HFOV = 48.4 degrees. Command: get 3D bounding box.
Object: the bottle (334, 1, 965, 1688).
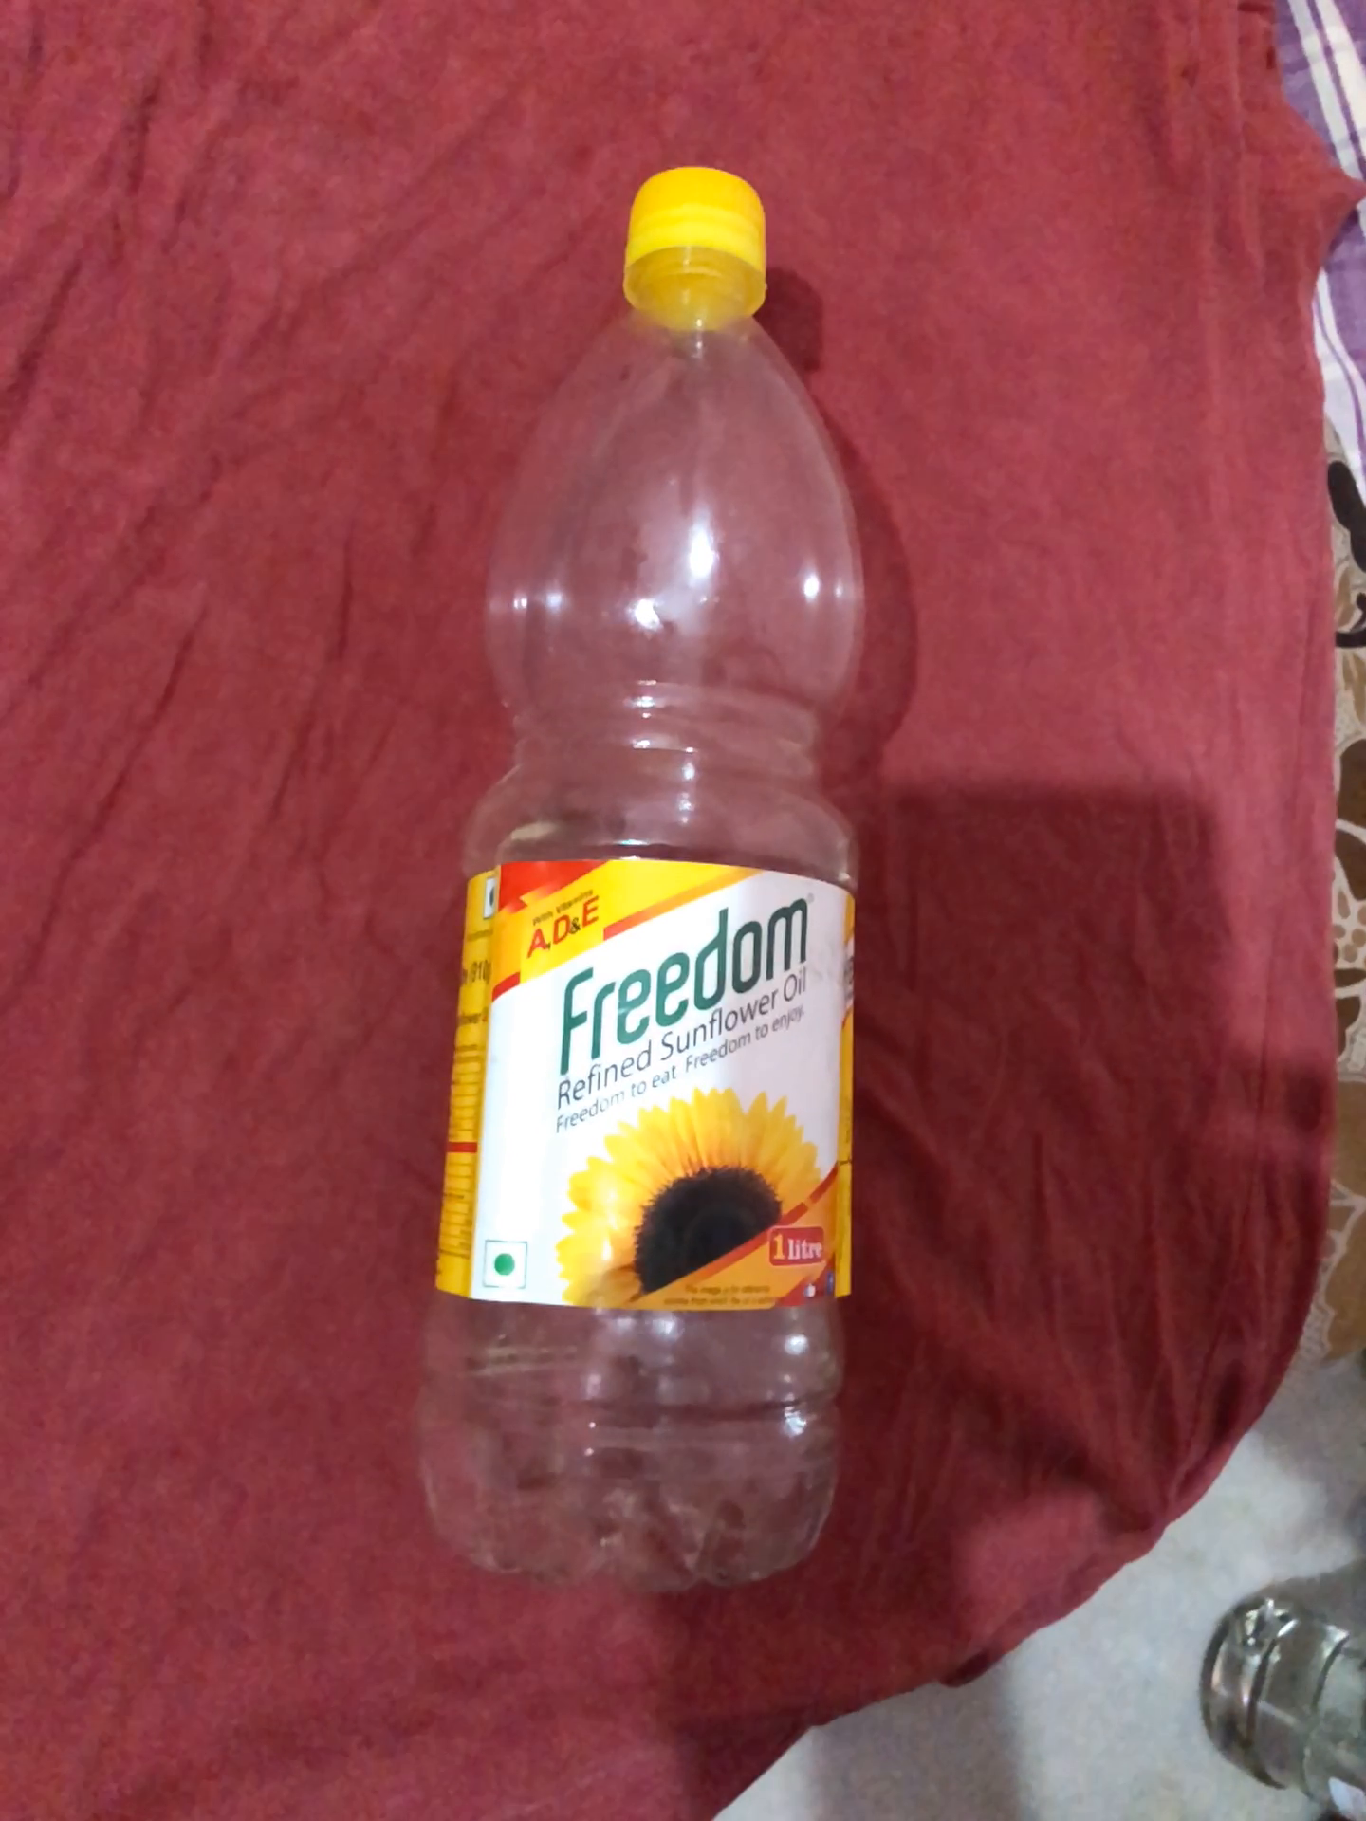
[{"bbox_3d":[-0.004,-0.013,0.285,0.080,0.060,0.270,8,82,-29],"label":"bottle"}]
